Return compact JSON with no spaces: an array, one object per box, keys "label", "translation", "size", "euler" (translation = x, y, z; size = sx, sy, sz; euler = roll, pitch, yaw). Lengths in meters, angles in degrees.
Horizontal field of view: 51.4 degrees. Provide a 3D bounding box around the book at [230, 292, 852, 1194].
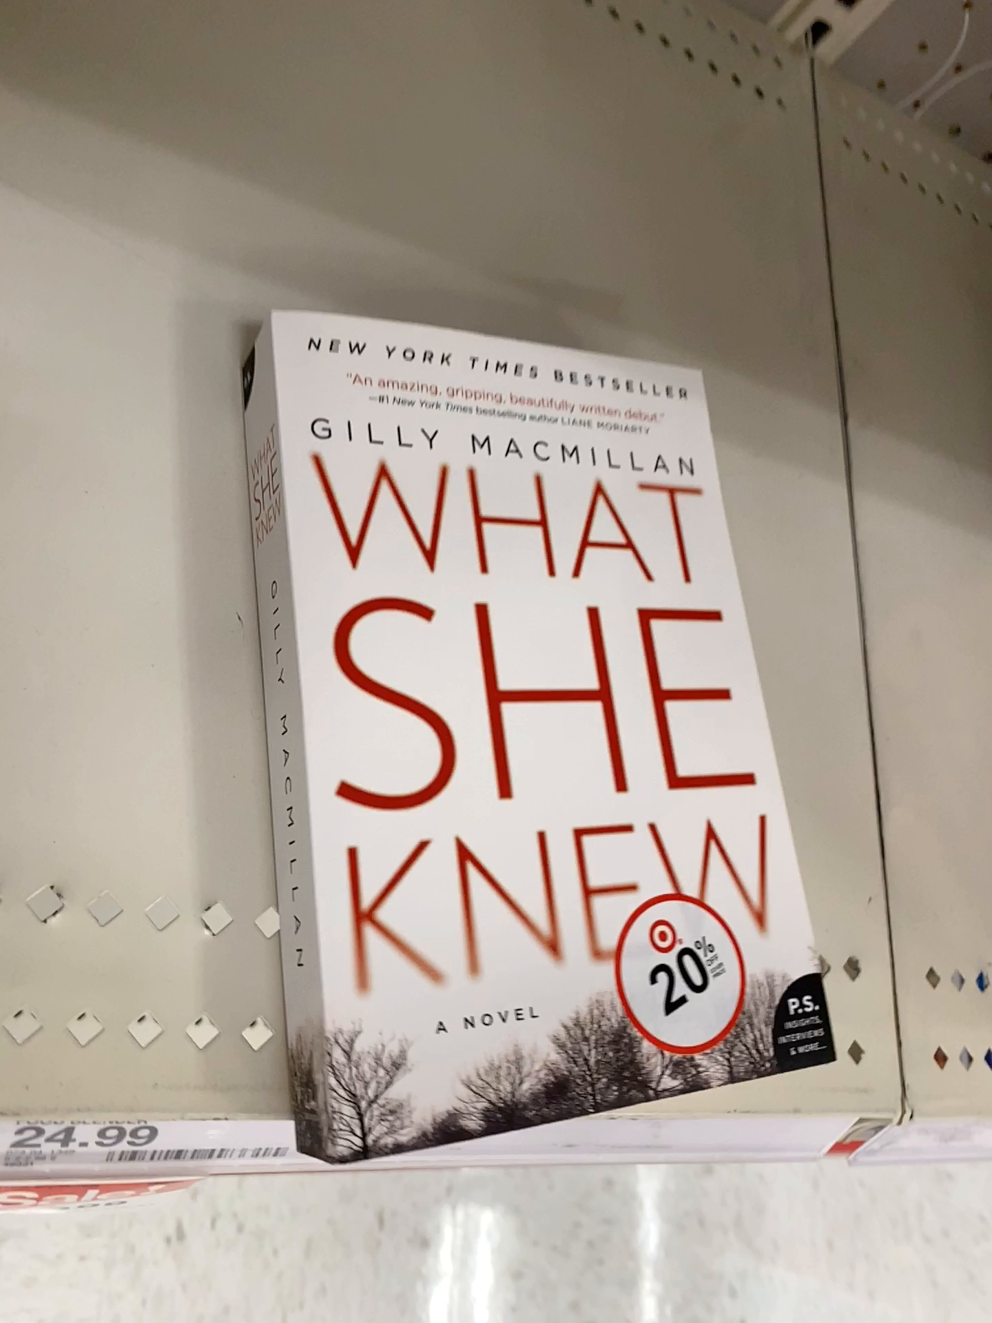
[{"label":"book","translation":[0.007,0.012,0.266],"size":[0.130,0.041,0.197],"euler":[0,72,-26]}]
